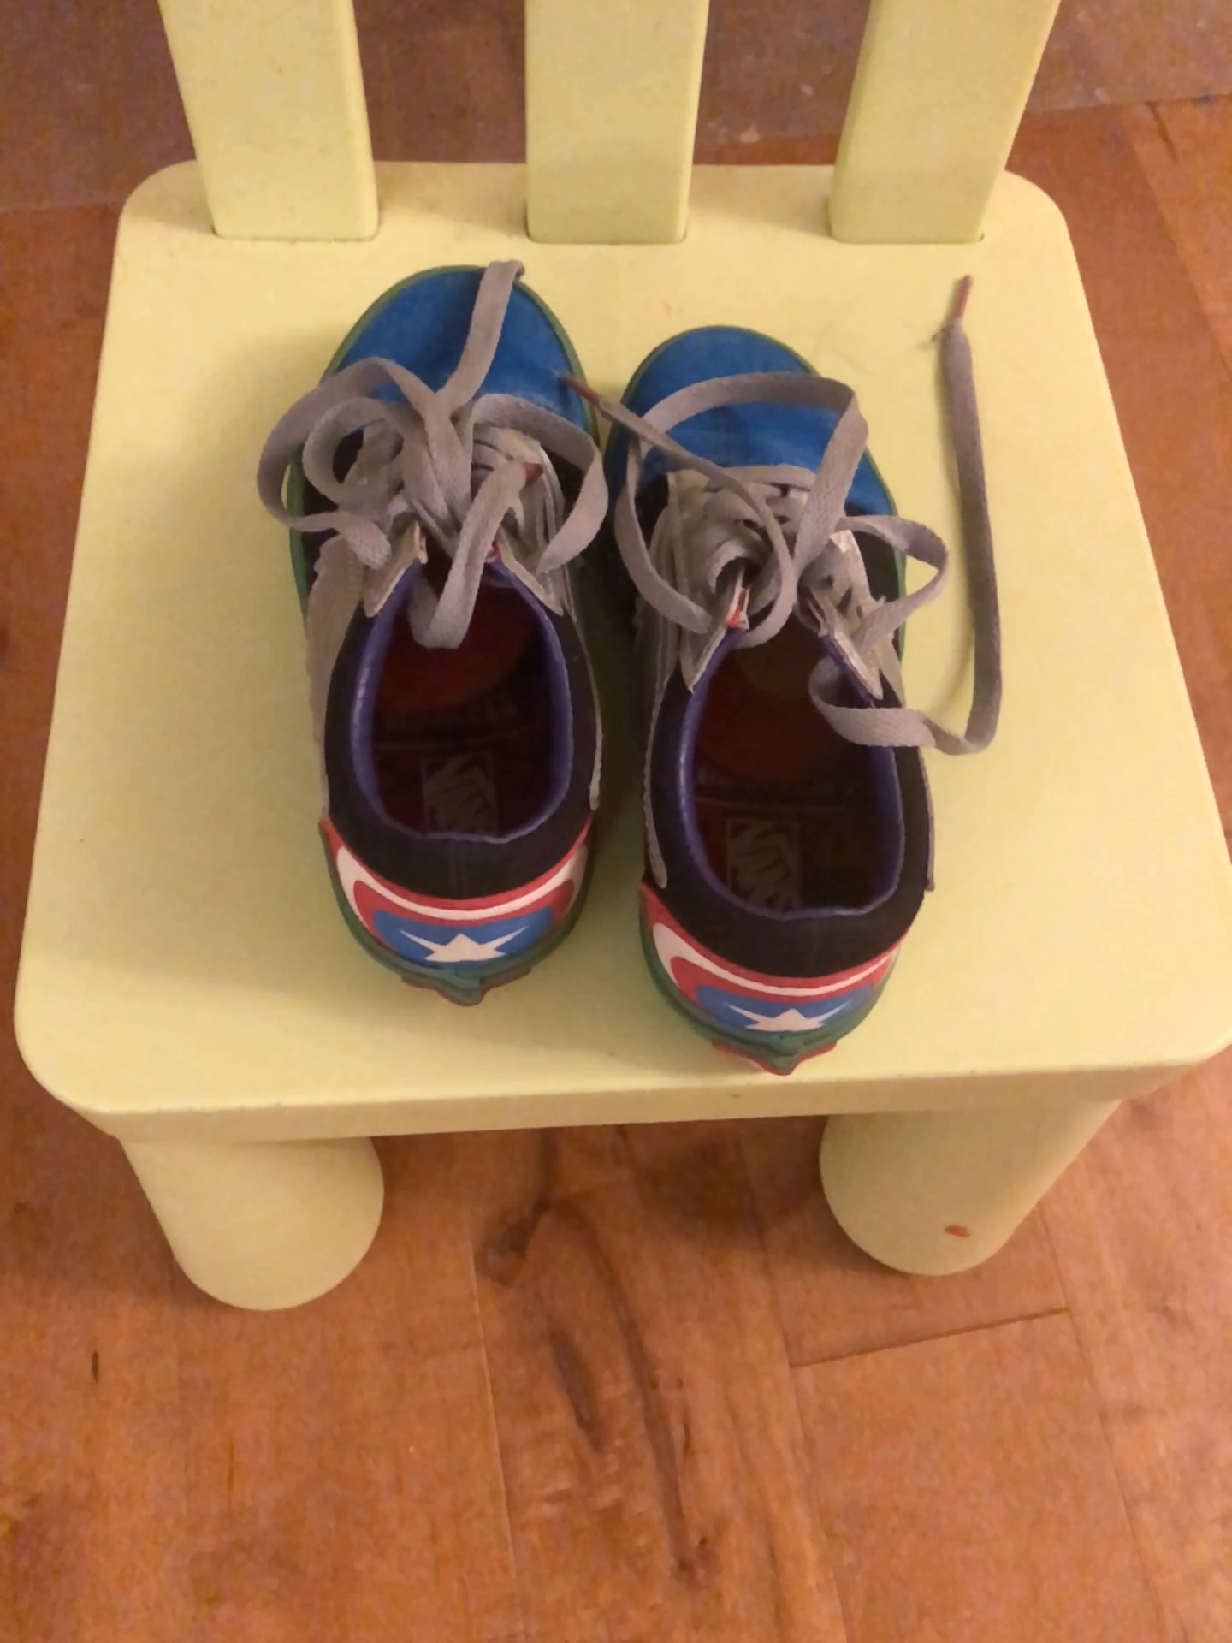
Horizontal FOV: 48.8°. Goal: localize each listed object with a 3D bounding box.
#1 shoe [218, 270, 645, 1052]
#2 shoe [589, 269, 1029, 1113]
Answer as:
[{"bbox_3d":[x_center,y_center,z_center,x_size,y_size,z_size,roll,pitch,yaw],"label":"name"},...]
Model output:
[{"bbox_3d":[-0.042,-0.042,0.361,0.090,0.080,0.191,0,68,-3],"label":"shoe"},{"bbox_3d":[0.036,-0.032,0.327,0.080,0.070,0.191,0,68,-3],"label":"shoe"}]
